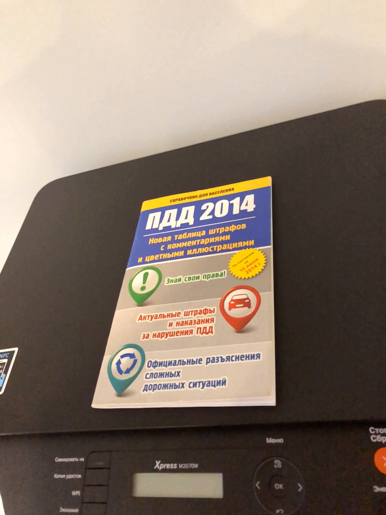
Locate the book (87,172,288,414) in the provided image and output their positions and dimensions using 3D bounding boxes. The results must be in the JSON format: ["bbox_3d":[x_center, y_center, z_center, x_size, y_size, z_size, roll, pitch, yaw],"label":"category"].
[{"bbox_3d":[0.002,0.016,0.327,0.130,0.010,0.201,-9,49,18],"label":"book"}]
